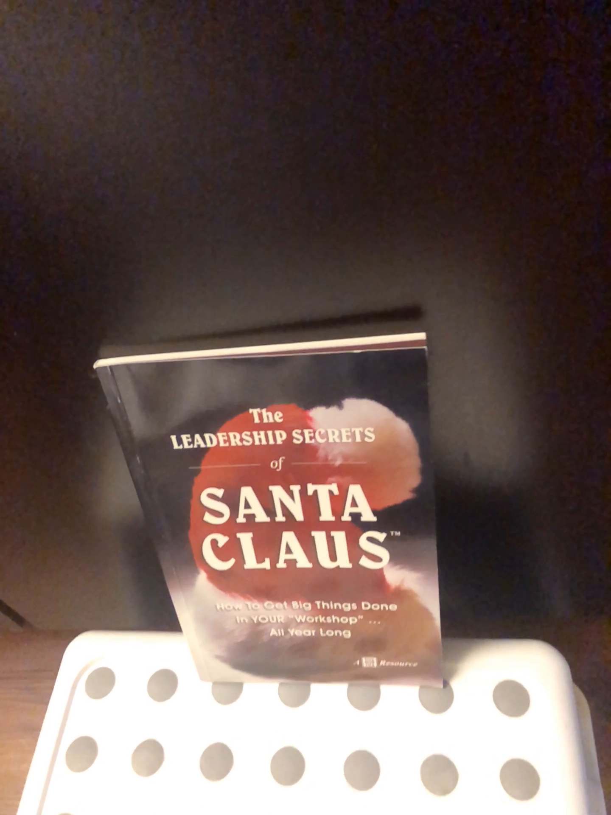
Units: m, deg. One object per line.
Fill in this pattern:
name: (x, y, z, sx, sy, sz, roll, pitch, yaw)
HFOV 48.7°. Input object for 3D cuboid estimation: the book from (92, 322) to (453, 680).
book: (-0.006, 0.067, 0.362, 0.160, 0.225, 0.010, -4, 30, 9)
